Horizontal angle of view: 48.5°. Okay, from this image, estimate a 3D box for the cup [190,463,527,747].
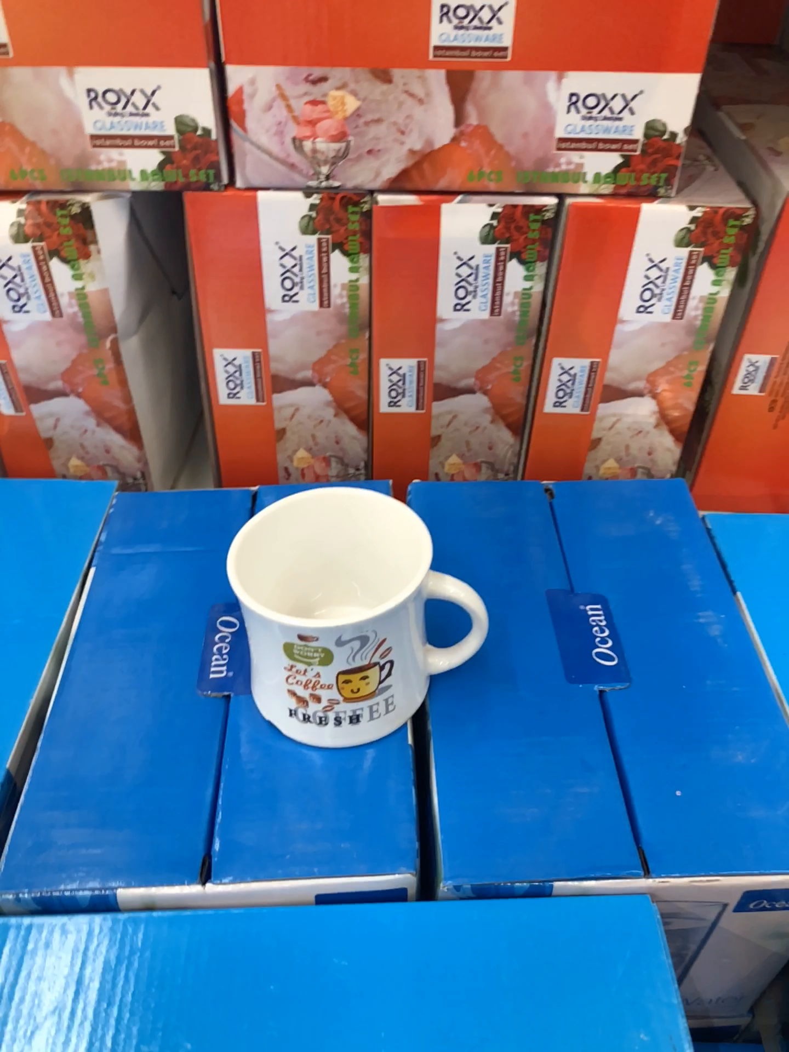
[{"bbox_3d":[-0.012,0.027,0.310,0.100,0.070,0.070,0,41,-2],"label":"cup"}]
